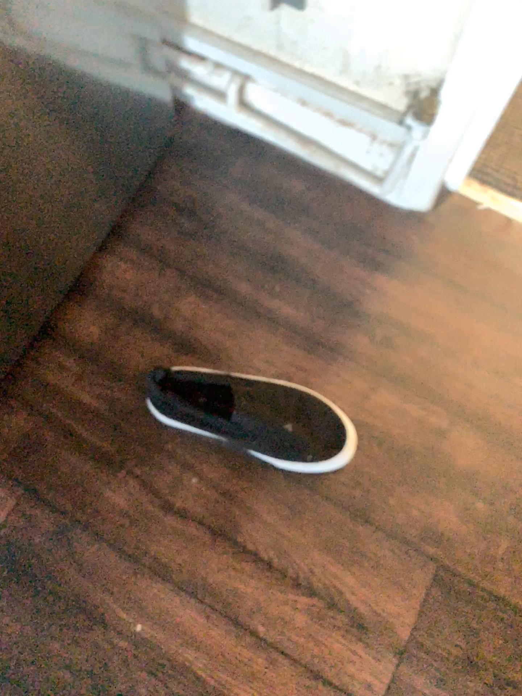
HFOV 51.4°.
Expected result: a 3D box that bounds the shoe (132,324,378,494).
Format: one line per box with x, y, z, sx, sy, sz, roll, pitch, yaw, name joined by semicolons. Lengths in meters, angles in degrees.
-0.006;0.069;0.605;0.238;0.080;0.100;19;71;6;shoe
